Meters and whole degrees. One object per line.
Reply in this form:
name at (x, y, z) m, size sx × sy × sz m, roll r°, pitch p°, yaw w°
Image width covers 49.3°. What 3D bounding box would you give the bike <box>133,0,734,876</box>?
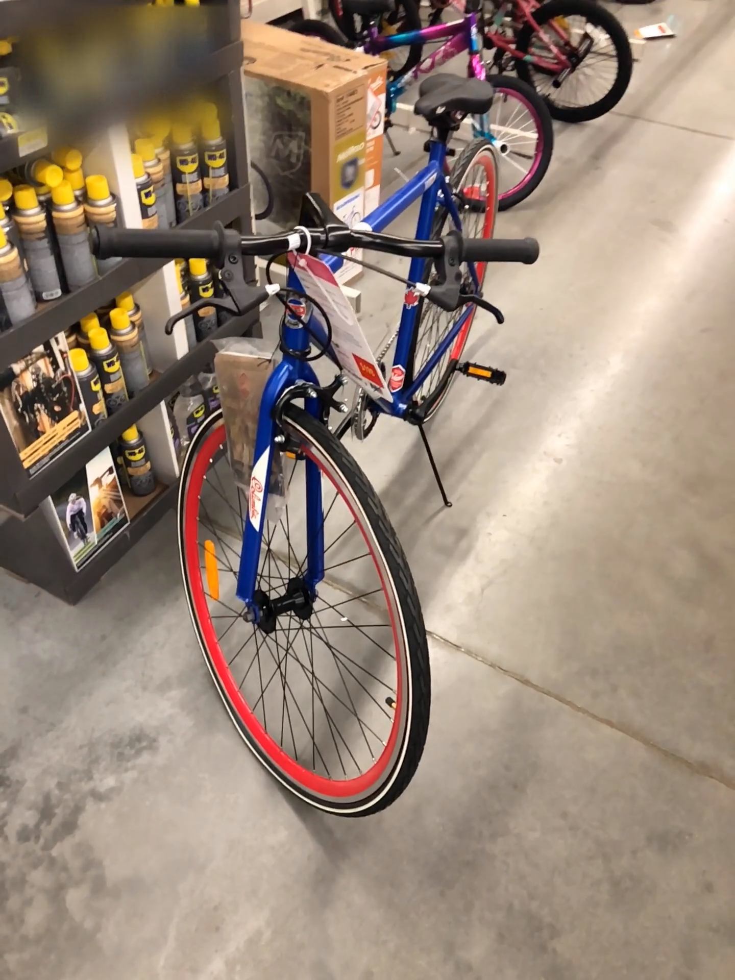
bike at (0.215, -0.335, 1.458) m, size 0.601 × 0.937 × 1.499 m, roll 9°, pitch 42°, yaw 7°
